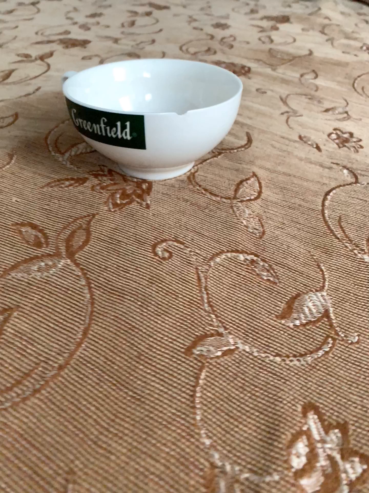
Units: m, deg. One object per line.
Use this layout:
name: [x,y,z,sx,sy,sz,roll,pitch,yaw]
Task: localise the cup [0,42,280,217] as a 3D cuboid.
cup: [-0.029,-0.085,0.242,0.140,0.040,0.111,22,43,21]
